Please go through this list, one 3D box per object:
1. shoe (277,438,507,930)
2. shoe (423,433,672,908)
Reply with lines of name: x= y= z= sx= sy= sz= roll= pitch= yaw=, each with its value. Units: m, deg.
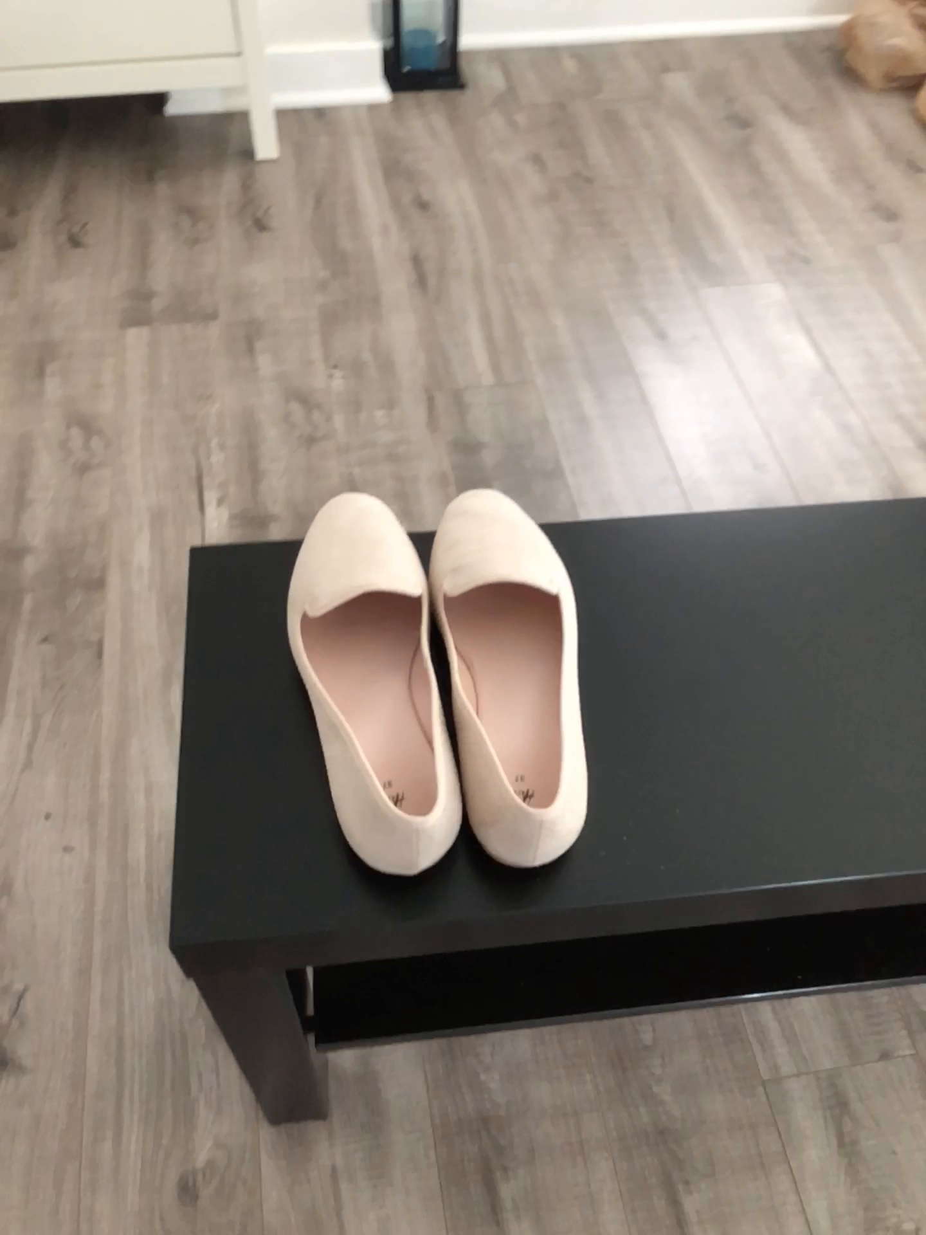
shoe: x=-0.045 y=0.023 z=0.542 sx=0.080 sy=0.070 sz=0.260 roll=-8 pitch=54 yaw=-8
shoe: x=0.034 y=0.017 z=0.554 sx=0.090 sy=0.070 sz=0.260 roll=-4 pitch=54 yaw=-5
